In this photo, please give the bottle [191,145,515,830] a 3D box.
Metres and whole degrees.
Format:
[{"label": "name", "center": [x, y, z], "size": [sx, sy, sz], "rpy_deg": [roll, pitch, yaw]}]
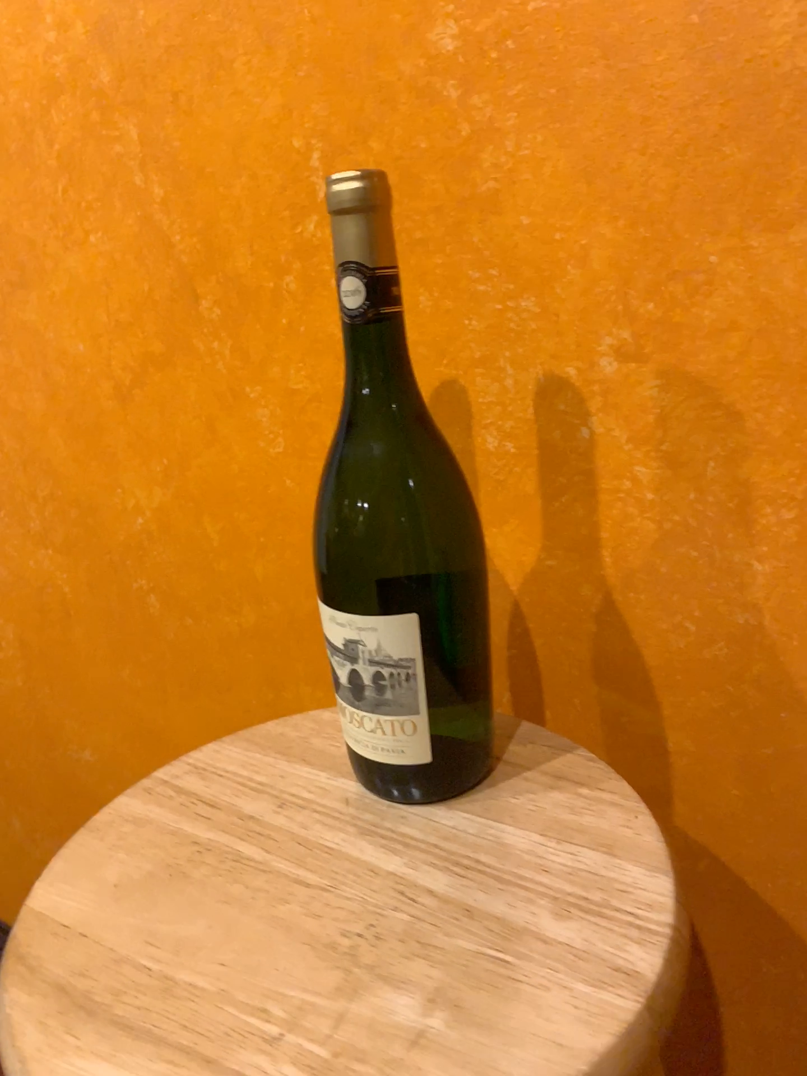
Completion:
[{"label": "bottle", "center": [-0.016, -0.019, 0.391], "size": [0.090, 0.289, 0.070], "rpy_deg": [8, 23, 39]}]
